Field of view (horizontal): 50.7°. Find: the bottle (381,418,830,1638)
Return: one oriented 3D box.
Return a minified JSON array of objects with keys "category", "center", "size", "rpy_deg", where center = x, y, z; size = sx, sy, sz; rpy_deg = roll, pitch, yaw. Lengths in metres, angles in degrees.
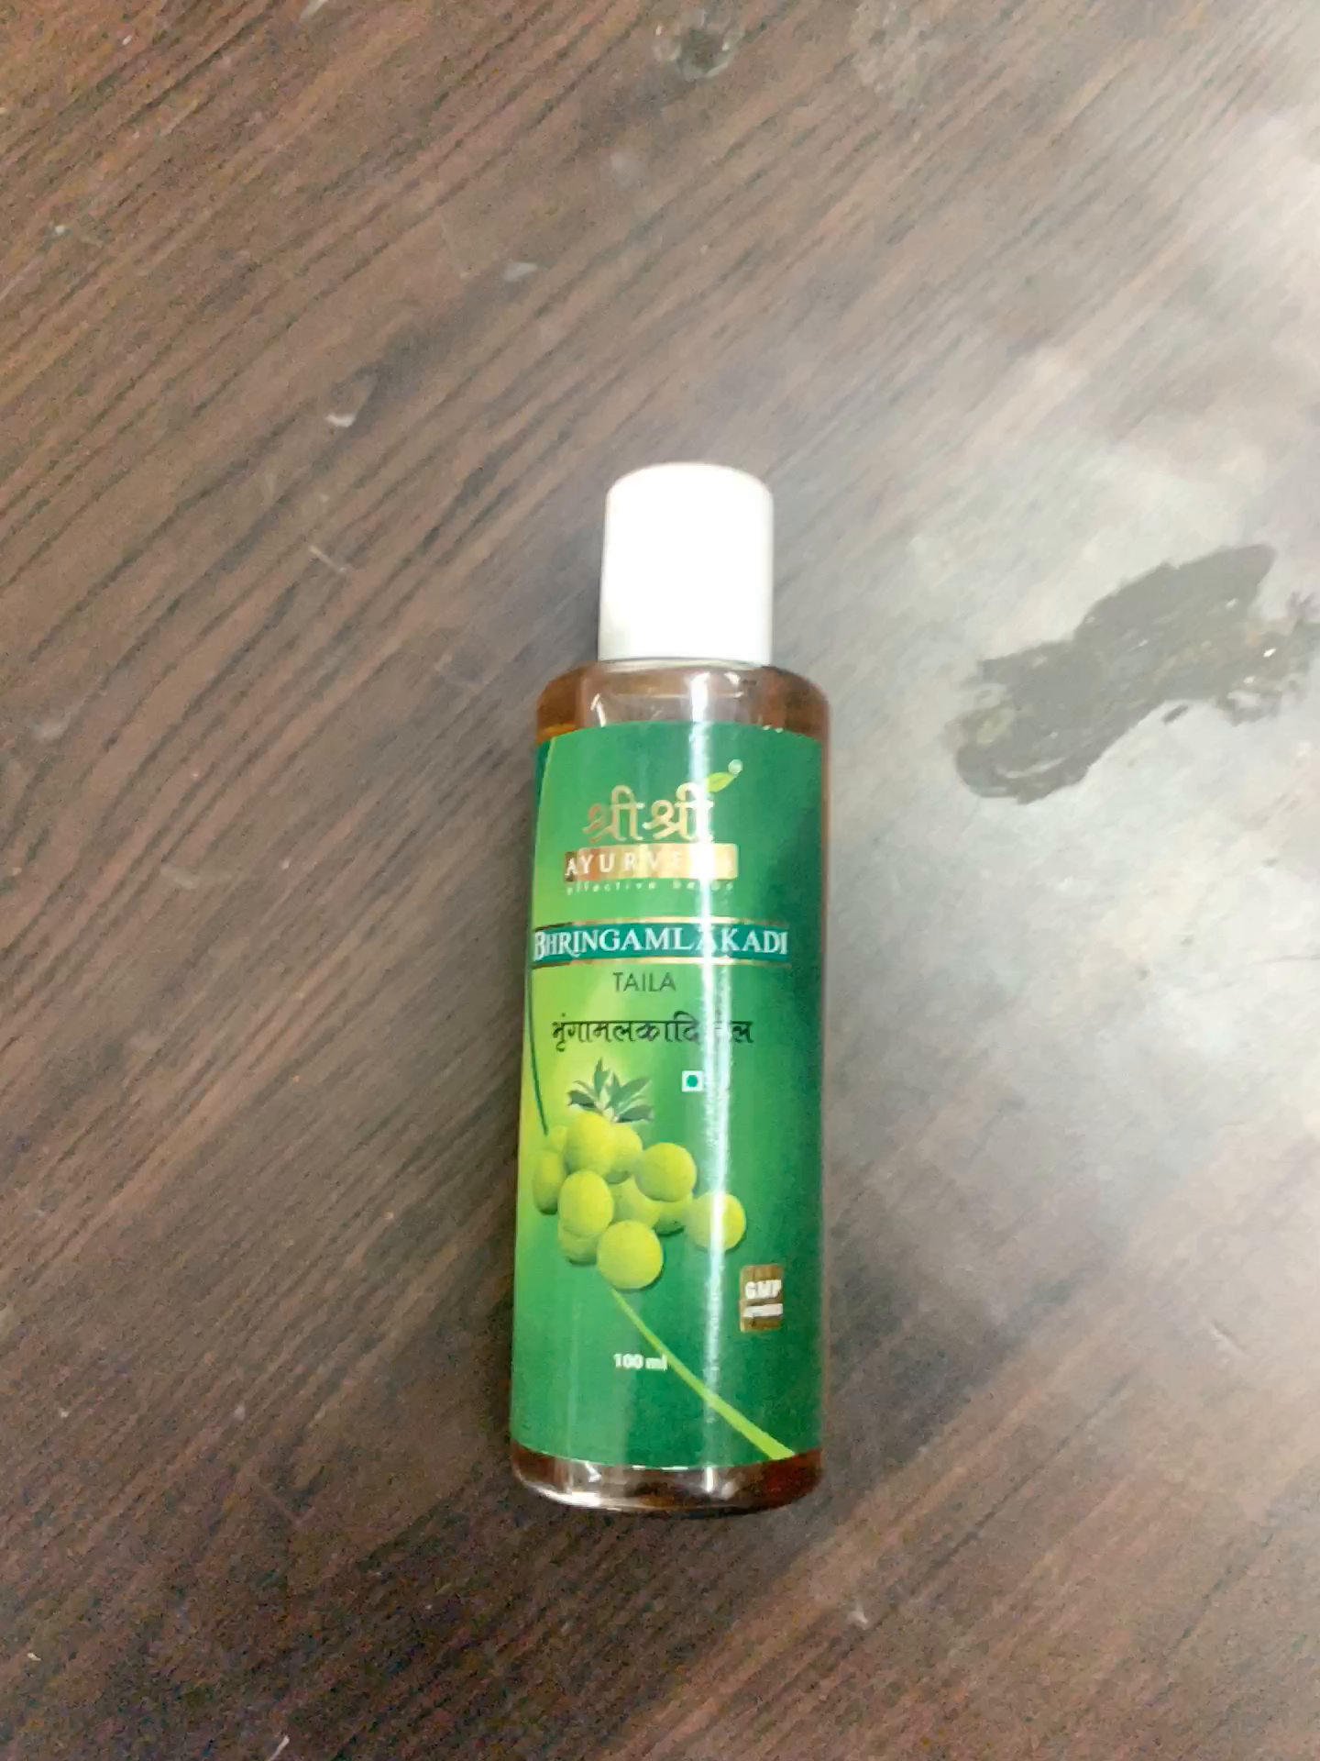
[{"category":"bottle","center":[-0.002,0.014,0.160],"size":[0.040,0.040,0.120],"rpy_deg":[0,81,9]}]
